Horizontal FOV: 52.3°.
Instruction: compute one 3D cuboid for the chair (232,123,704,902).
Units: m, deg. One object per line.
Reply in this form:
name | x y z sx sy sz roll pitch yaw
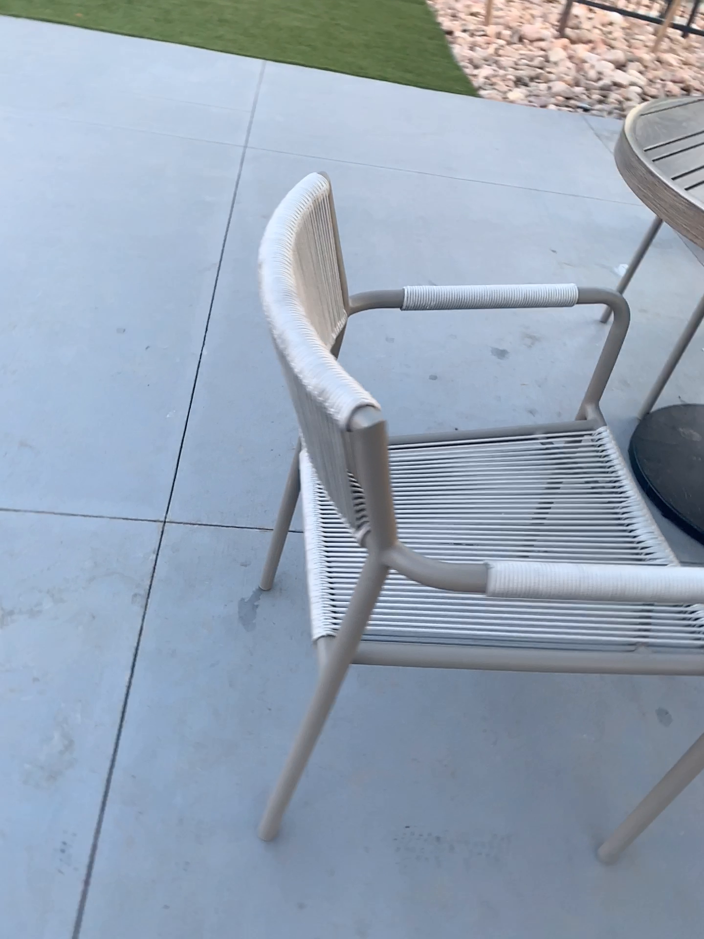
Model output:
chair | 0.149 0.068 0.993 0.600 0.767 0.673 1 43 -11
